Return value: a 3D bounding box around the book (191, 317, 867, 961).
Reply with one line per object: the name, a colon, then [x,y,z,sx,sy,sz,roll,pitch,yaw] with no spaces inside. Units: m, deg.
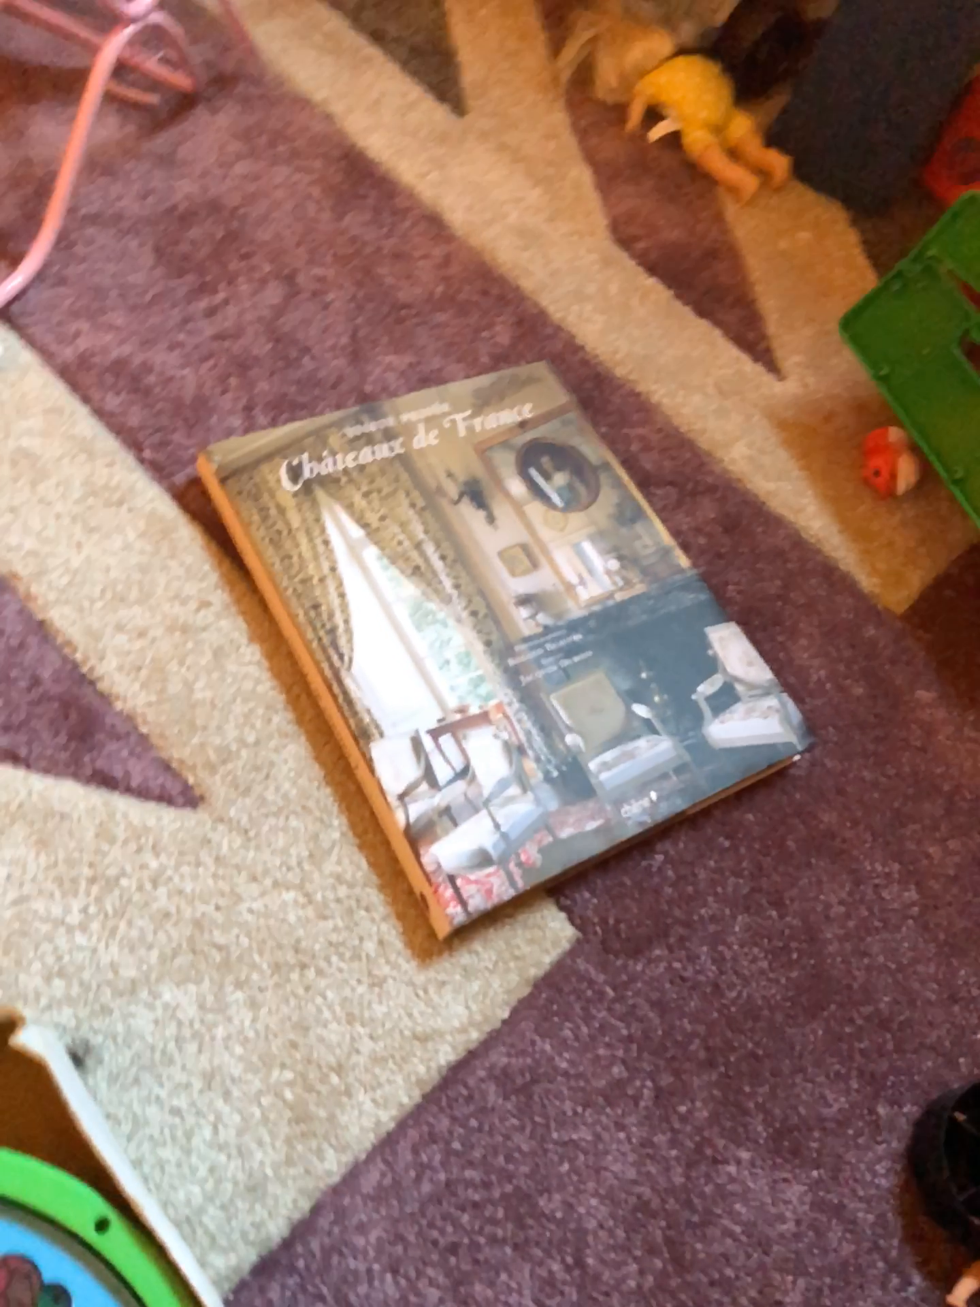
book: [0.015,-0.037,0.632,0.261,0.050,0.340,-21,67,-25]
